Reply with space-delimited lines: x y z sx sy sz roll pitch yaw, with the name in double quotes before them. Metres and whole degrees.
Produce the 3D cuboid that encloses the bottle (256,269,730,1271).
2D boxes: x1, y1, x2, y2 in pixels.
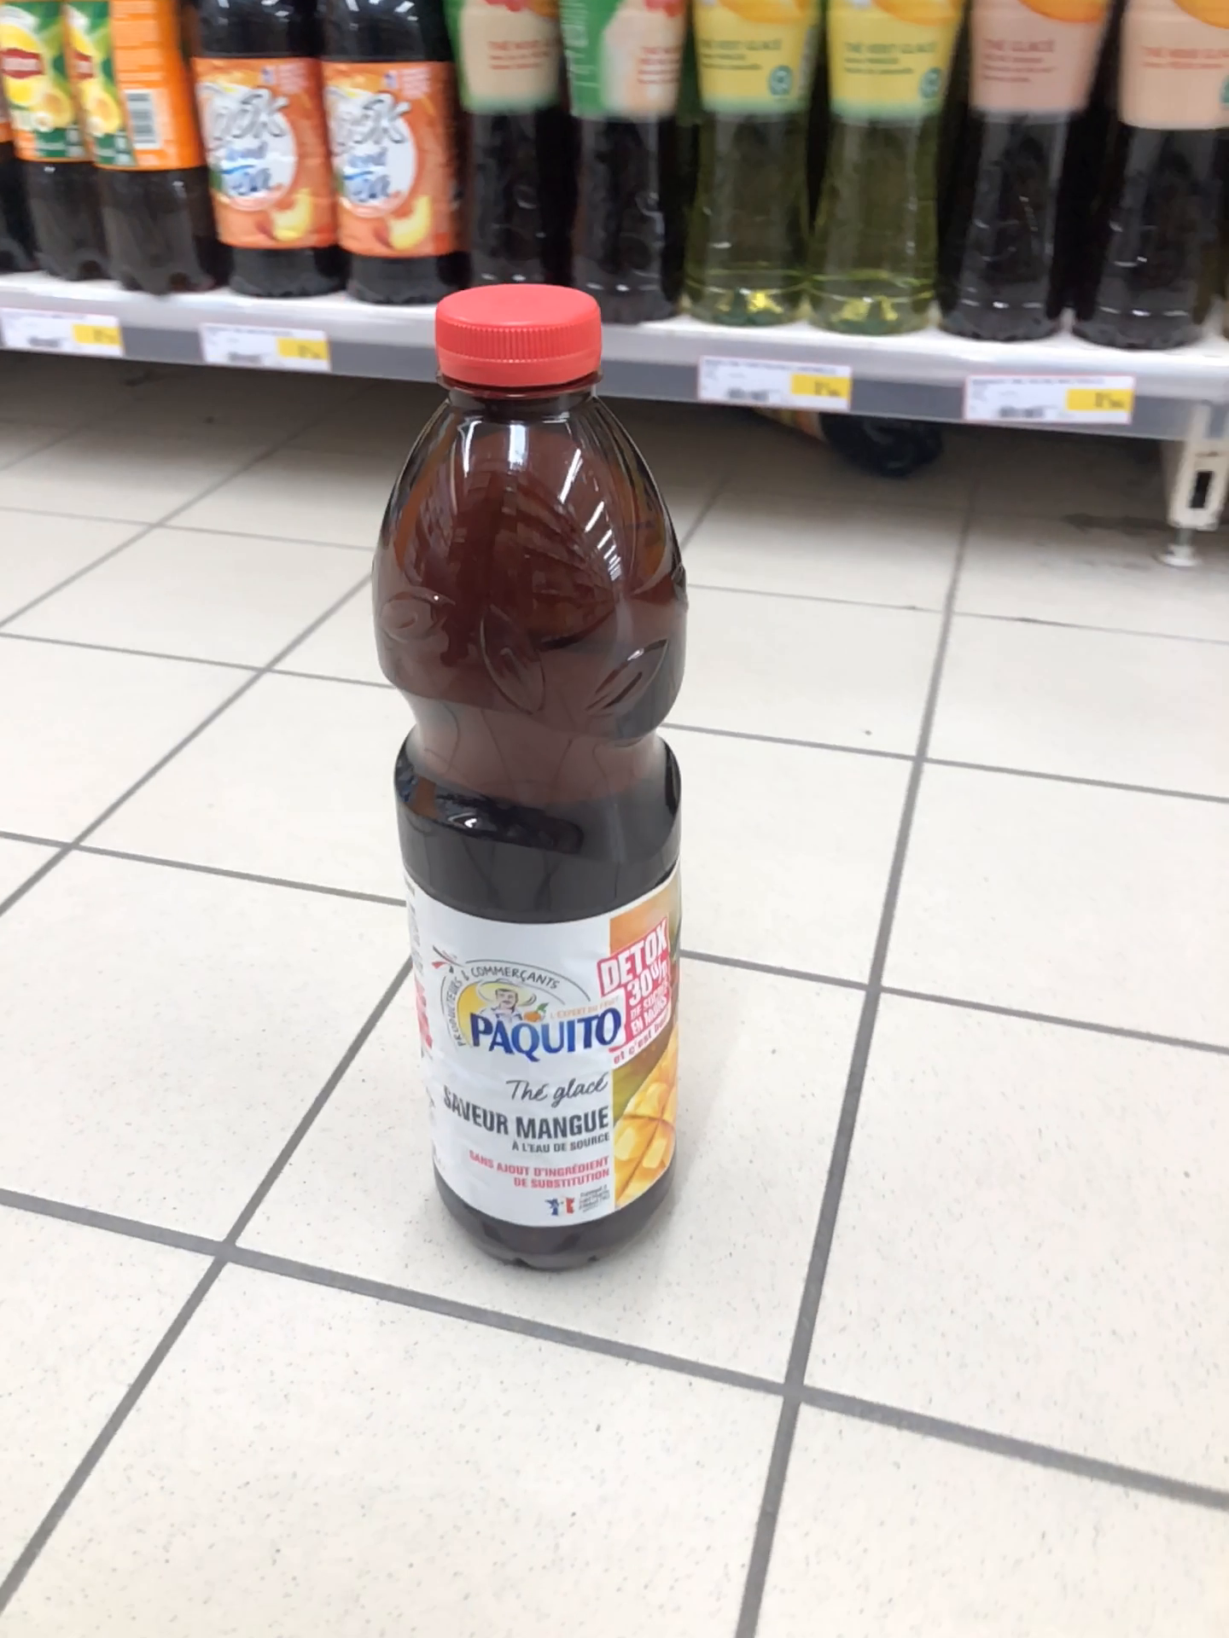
"bottle" -0.025 0.000 0.400 0.100 0.288 0.091 0 32 0
